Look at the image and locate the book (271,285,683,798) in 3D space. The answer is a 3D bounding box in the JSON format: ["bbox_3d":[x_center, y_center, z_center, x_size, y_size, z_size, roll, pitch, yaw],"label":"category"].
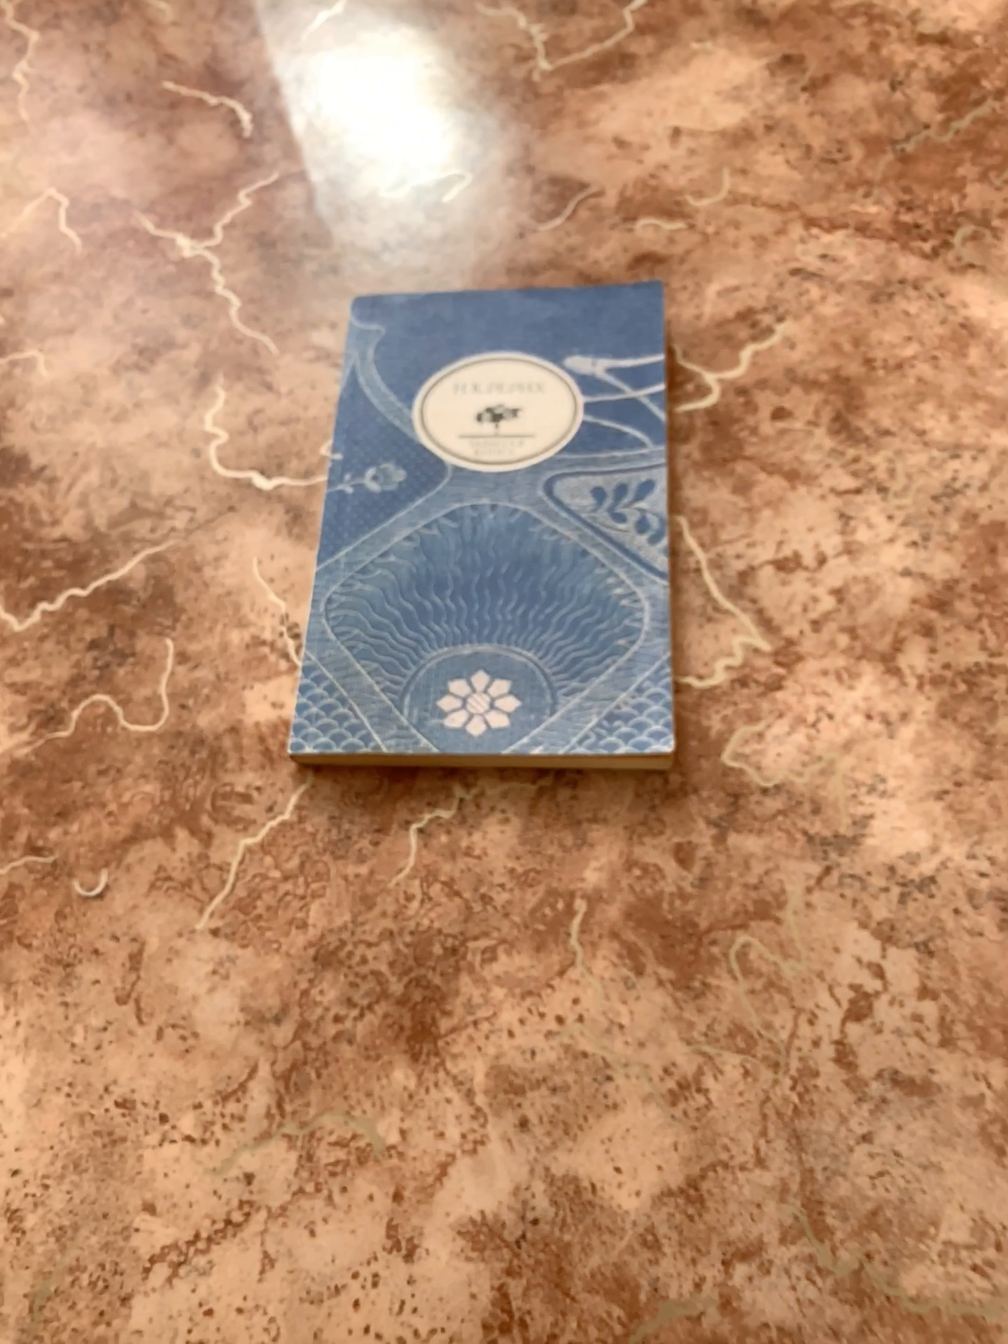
[{"bbox_3d":[-0.005,-0.055,0.373,0.125,0.015,0.203,0,63,4],"label":"book"}]
